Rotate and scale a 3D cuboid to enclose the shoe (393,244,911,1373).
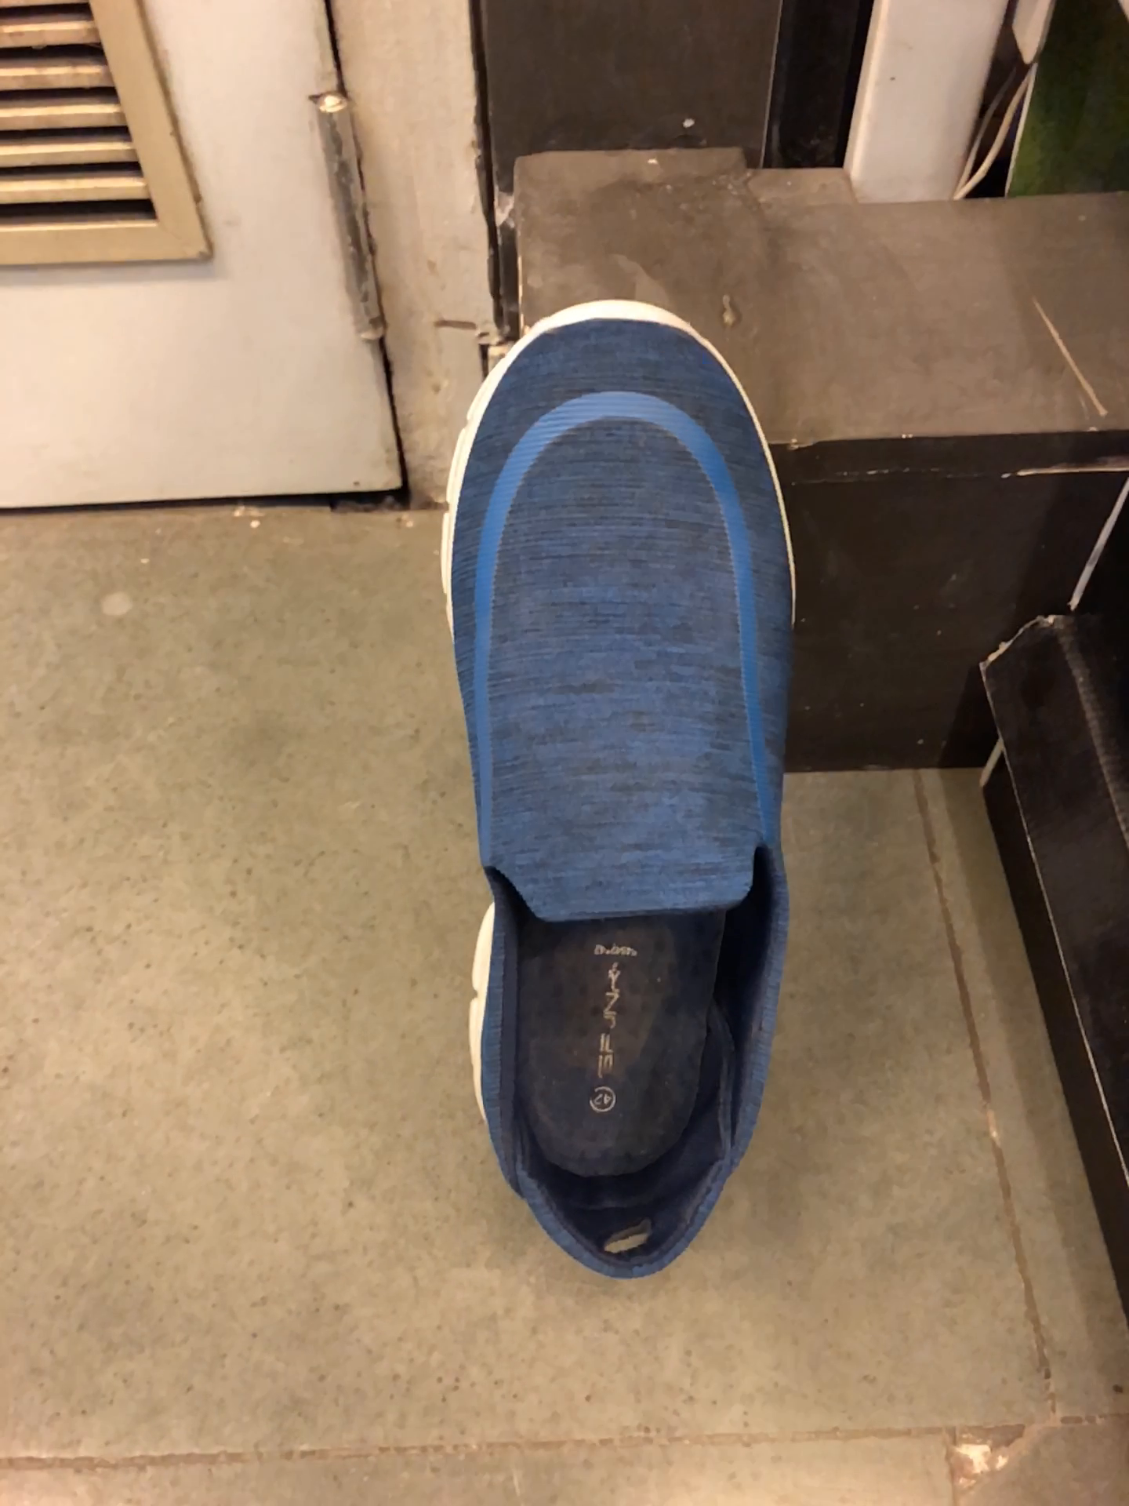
[{"bbox_3d":[0.017,0.015,0.341,0.110,0.272,0.095,-1,13,-3],"label":"shoe"}]
